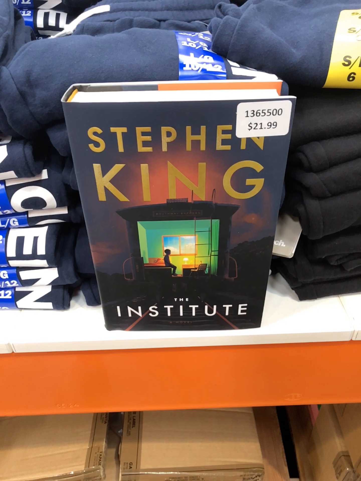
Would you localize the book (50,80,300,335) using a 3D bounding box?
[{"bbox_3d":[-0.002,-0.014,0.355,0.167,0.229,0.050,-1,36,0],"label":"book"}]
